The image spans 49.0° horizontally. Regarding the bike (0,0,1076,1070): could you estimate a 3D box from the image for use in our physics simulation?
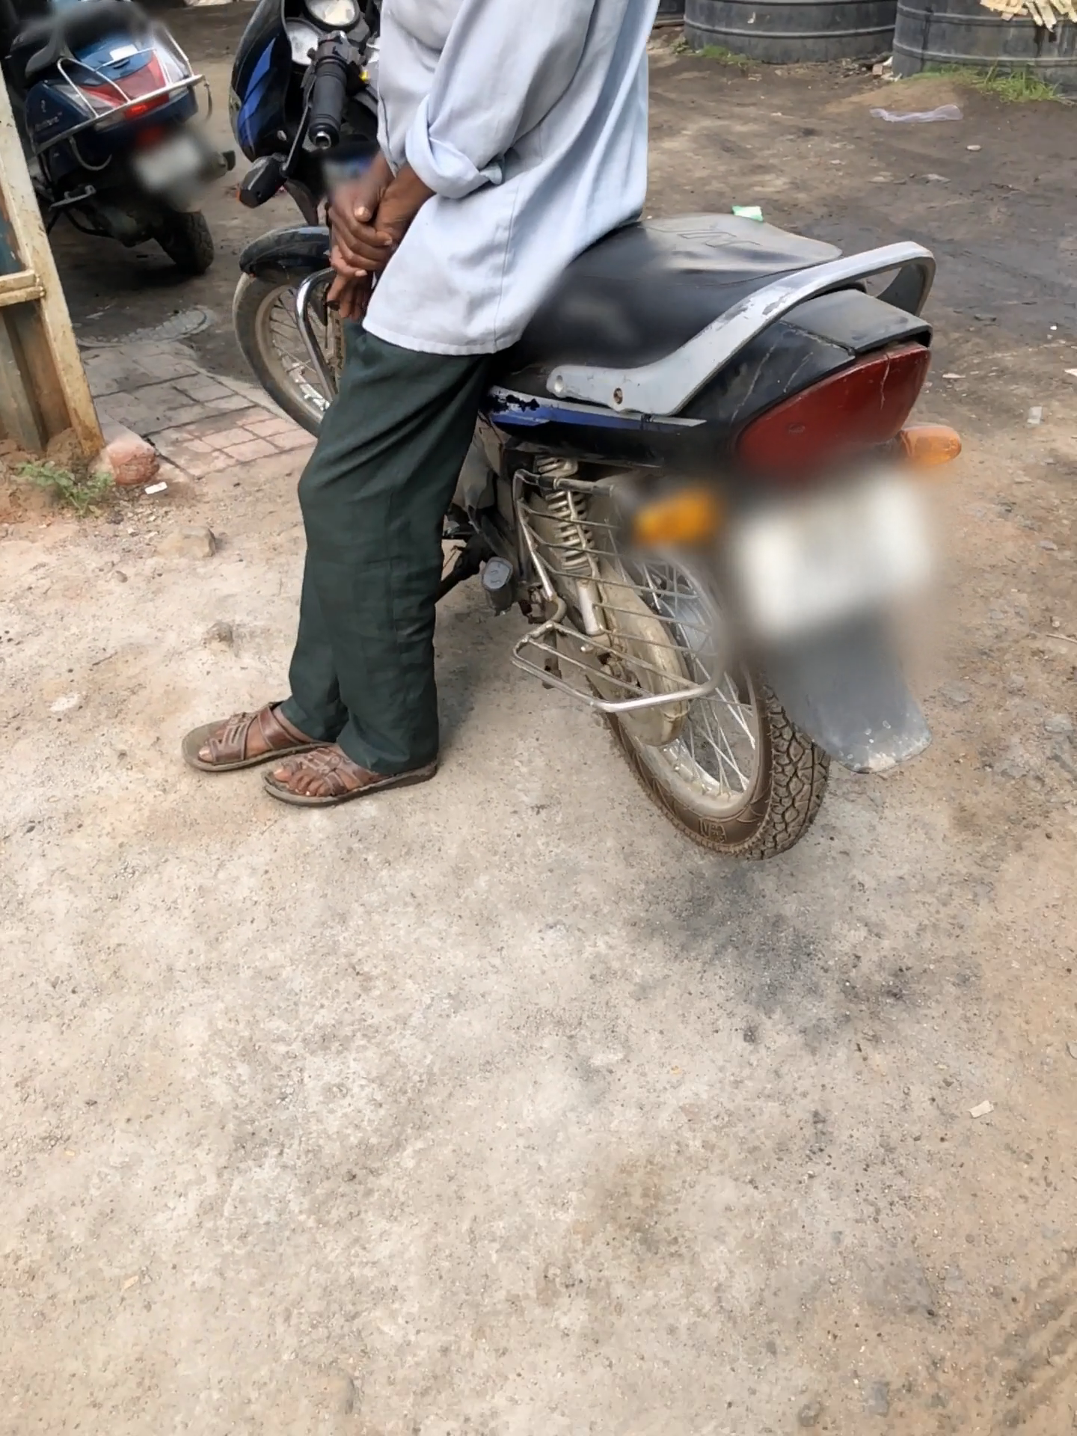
[{"bbox_3d":[-0.170,-0.630,1.830,0.786,1.154,1.806,-21,42,-23],"label":"bike"}]
